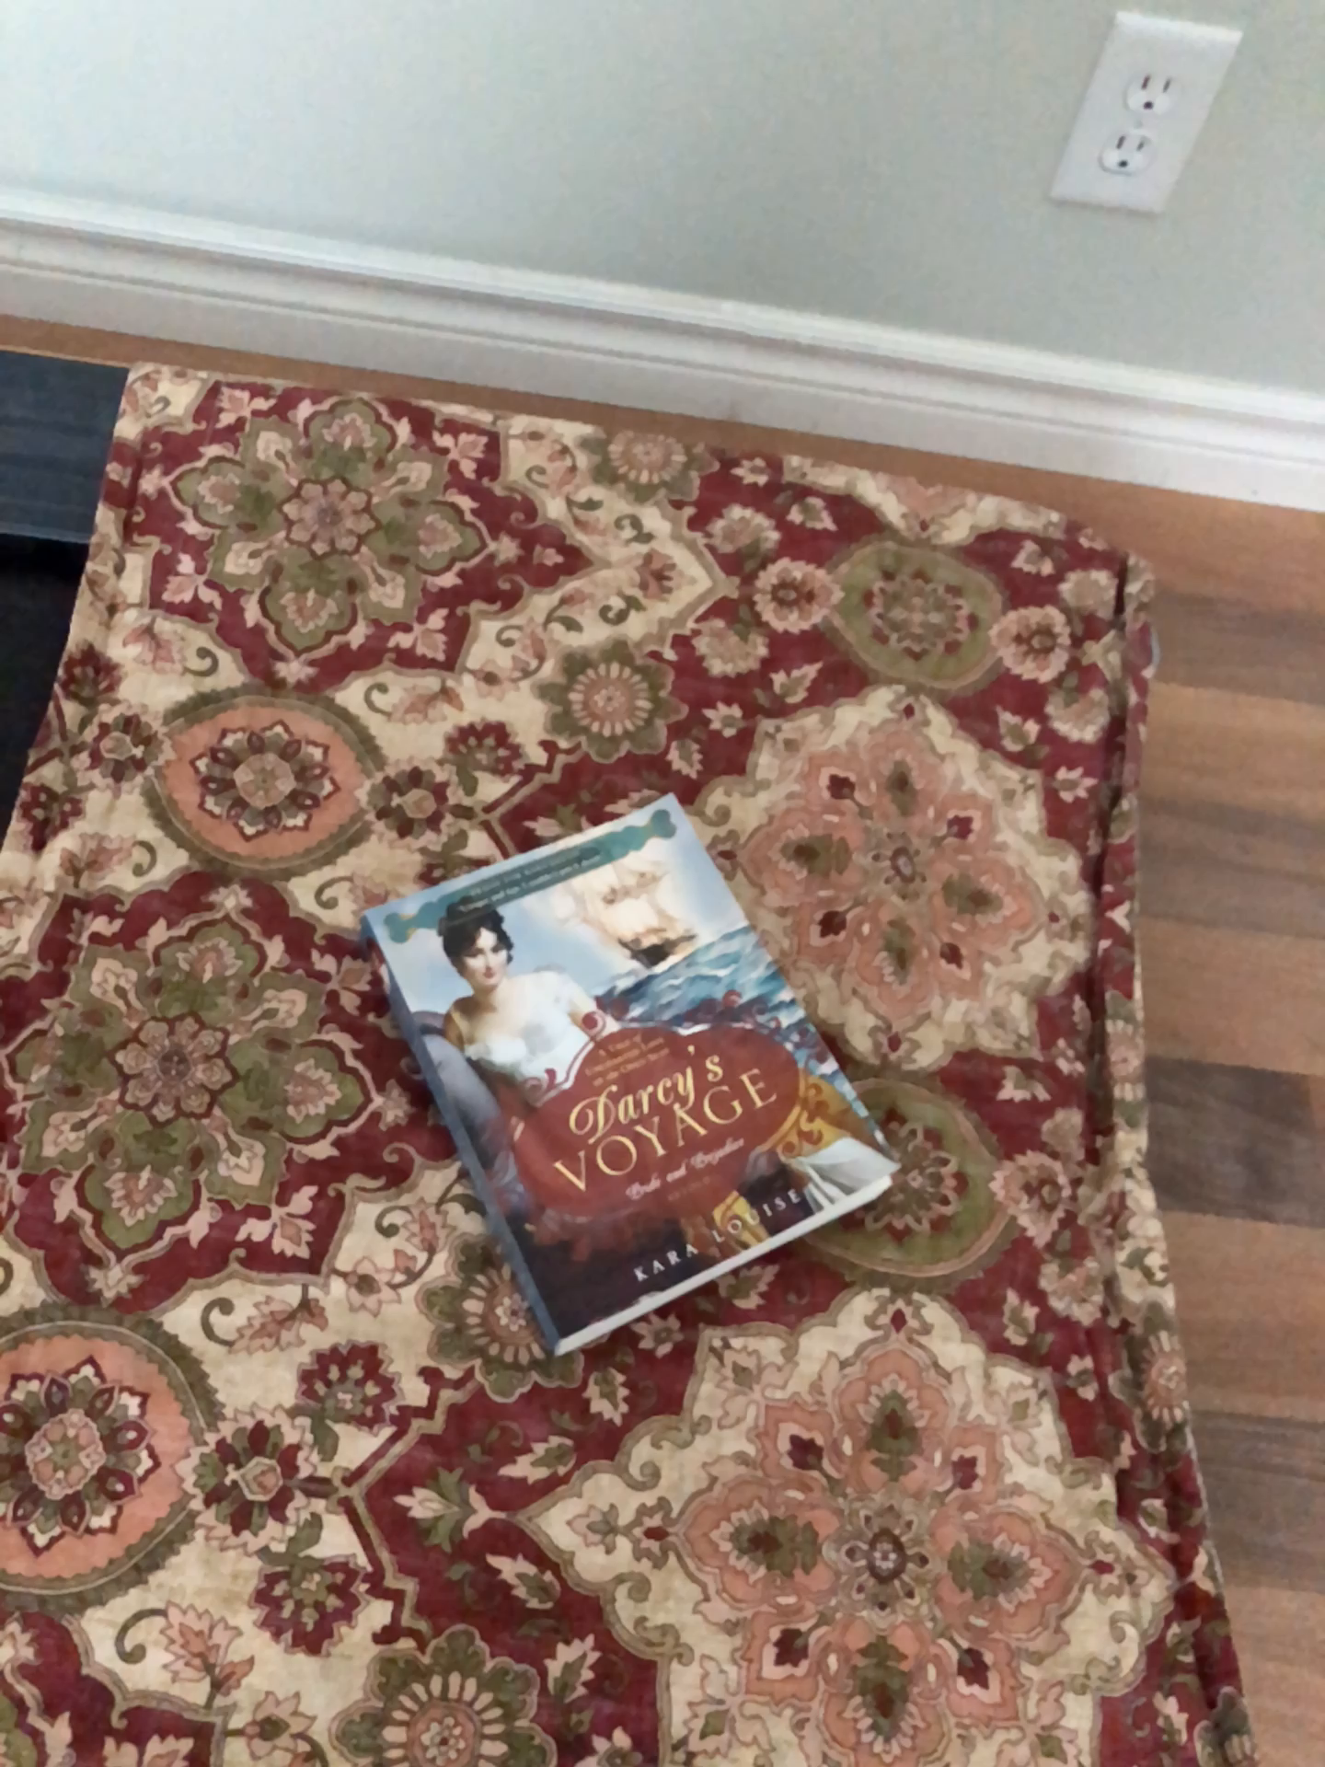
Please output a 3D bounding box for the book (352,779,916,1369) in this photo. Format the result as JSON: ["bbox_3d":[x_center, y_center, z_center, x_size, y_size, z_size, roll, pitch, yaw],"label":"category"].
[{"bbox_3d":[-0.016,0.069,0.603,0.154,0.034,0.200,-21,65,-19],"label":"book"}]
